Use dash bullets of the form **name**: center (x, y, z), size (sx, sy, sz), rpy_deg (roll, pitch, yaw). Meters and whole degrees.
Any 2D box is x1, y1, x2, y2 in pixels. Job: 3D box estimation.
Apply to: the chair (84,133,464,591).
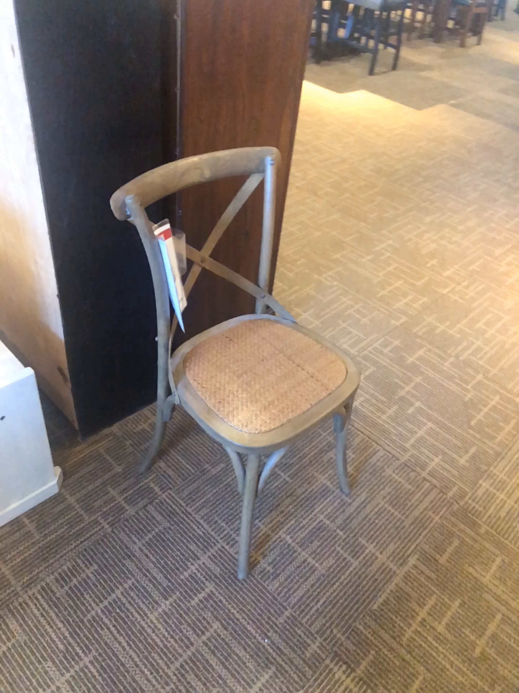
- **chair**: center (-0.014, 0.025, 1.393), size (0.517, 0.813, 0.566), rpy_deg (-28, 51, -35)
